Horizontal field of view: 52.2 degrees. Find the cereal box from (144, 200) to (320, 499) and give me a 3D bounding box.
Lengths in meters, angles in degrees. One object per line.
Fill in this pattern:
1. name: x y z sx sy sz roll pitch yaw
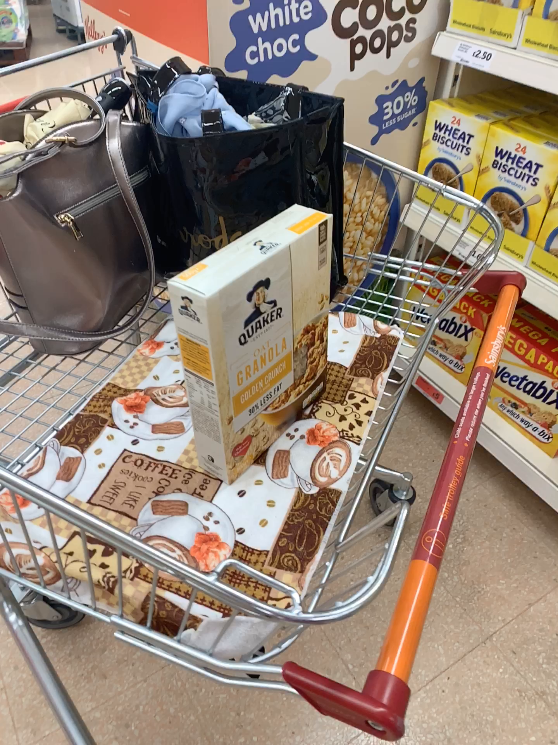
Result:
1. cereal box: -0.034 -0.023 0.617 0.050 0.258 0.201 24 45 27
